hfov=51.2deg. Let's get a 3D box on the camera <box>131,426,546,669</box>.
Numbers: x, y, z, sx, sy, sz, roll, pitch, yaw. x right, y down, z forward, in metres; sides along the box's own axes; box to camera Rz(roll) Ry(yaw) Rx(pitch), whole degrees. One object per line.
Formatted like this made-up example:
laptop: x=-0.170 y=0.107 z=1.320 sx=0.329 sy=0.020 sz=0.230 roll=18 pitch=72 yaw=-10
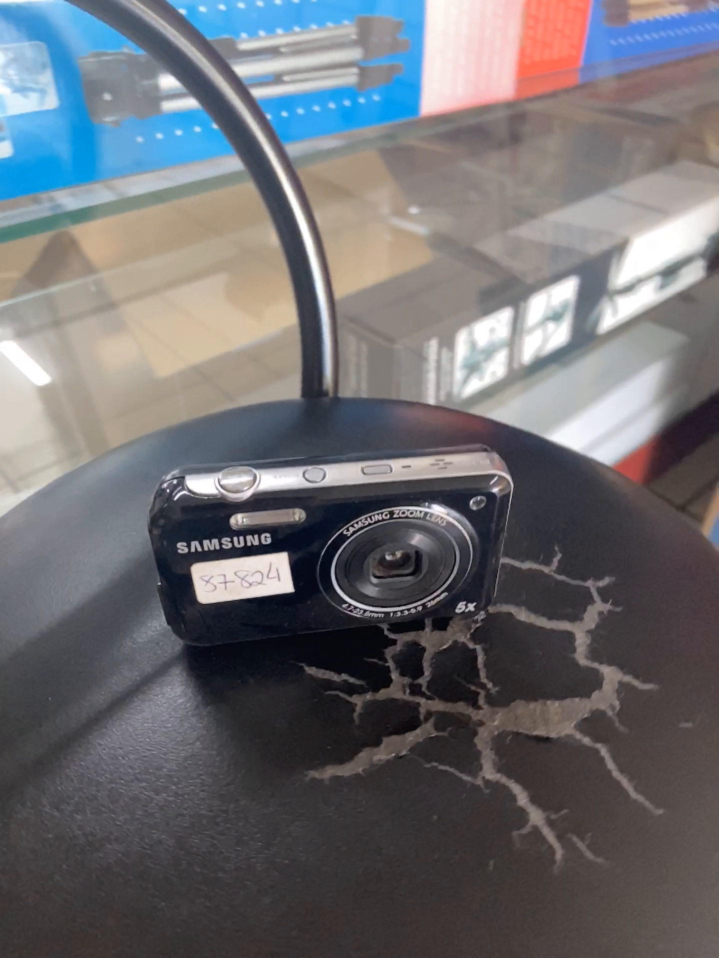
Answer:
camera: x=-0.005 y=0.019 z=0.207 sx=0.100 sy=0.050 sz=0.030 roll=-5 pitch=40 yaw=-6
